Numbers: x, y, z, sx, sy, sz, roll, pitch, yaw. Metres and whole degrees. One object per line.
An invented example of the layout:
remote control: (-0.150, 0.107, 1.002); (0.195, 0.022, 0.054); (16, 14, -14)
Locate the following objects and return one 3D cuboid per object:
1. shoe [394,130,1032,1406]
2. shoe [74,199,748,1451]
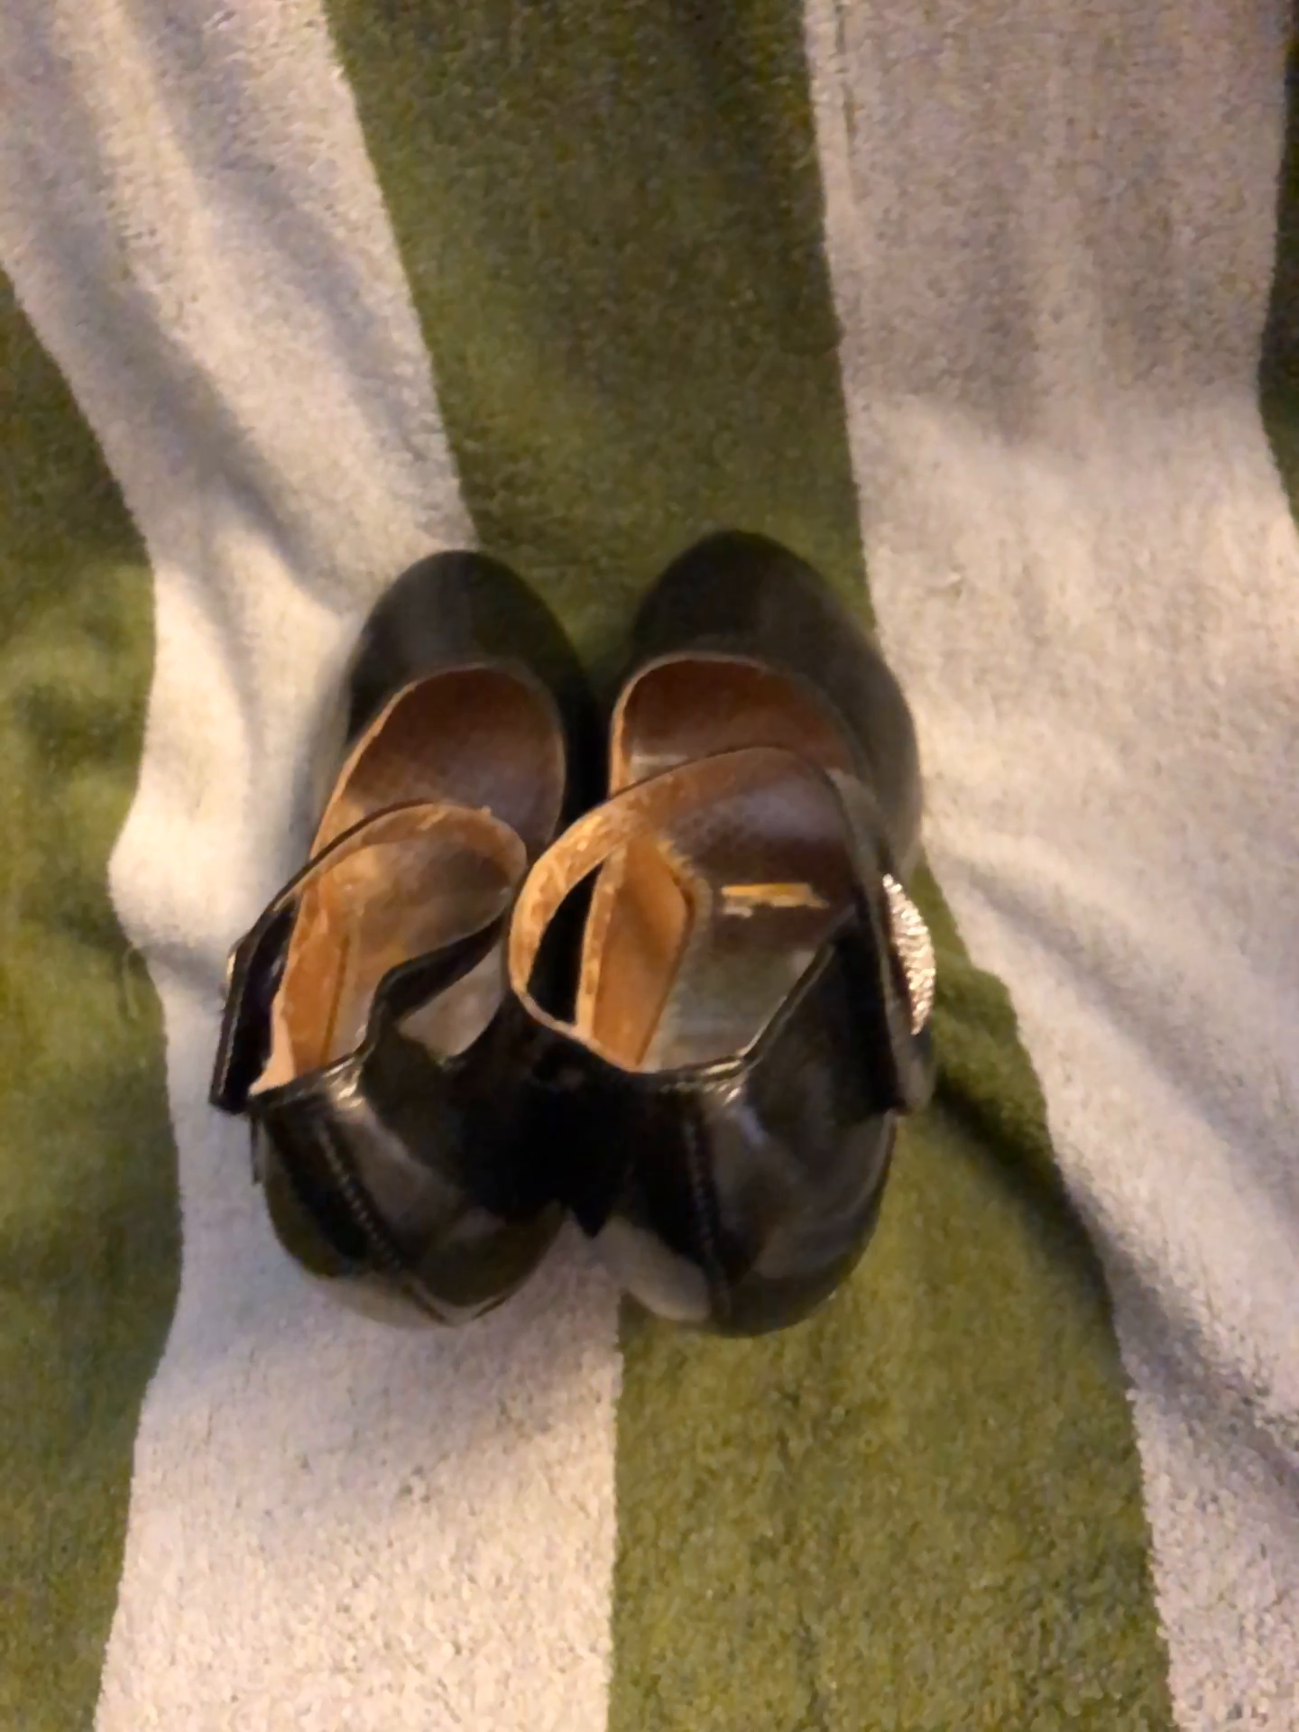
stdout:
shoe: (0.020, -0.020, 0.311); (0.090, 0.120, 0.241); (-3, 62, 9)
shoe: (-0.049, -0.010, 0.324); (0.090, 0.120, 0.241); (-11, 61, 5)
